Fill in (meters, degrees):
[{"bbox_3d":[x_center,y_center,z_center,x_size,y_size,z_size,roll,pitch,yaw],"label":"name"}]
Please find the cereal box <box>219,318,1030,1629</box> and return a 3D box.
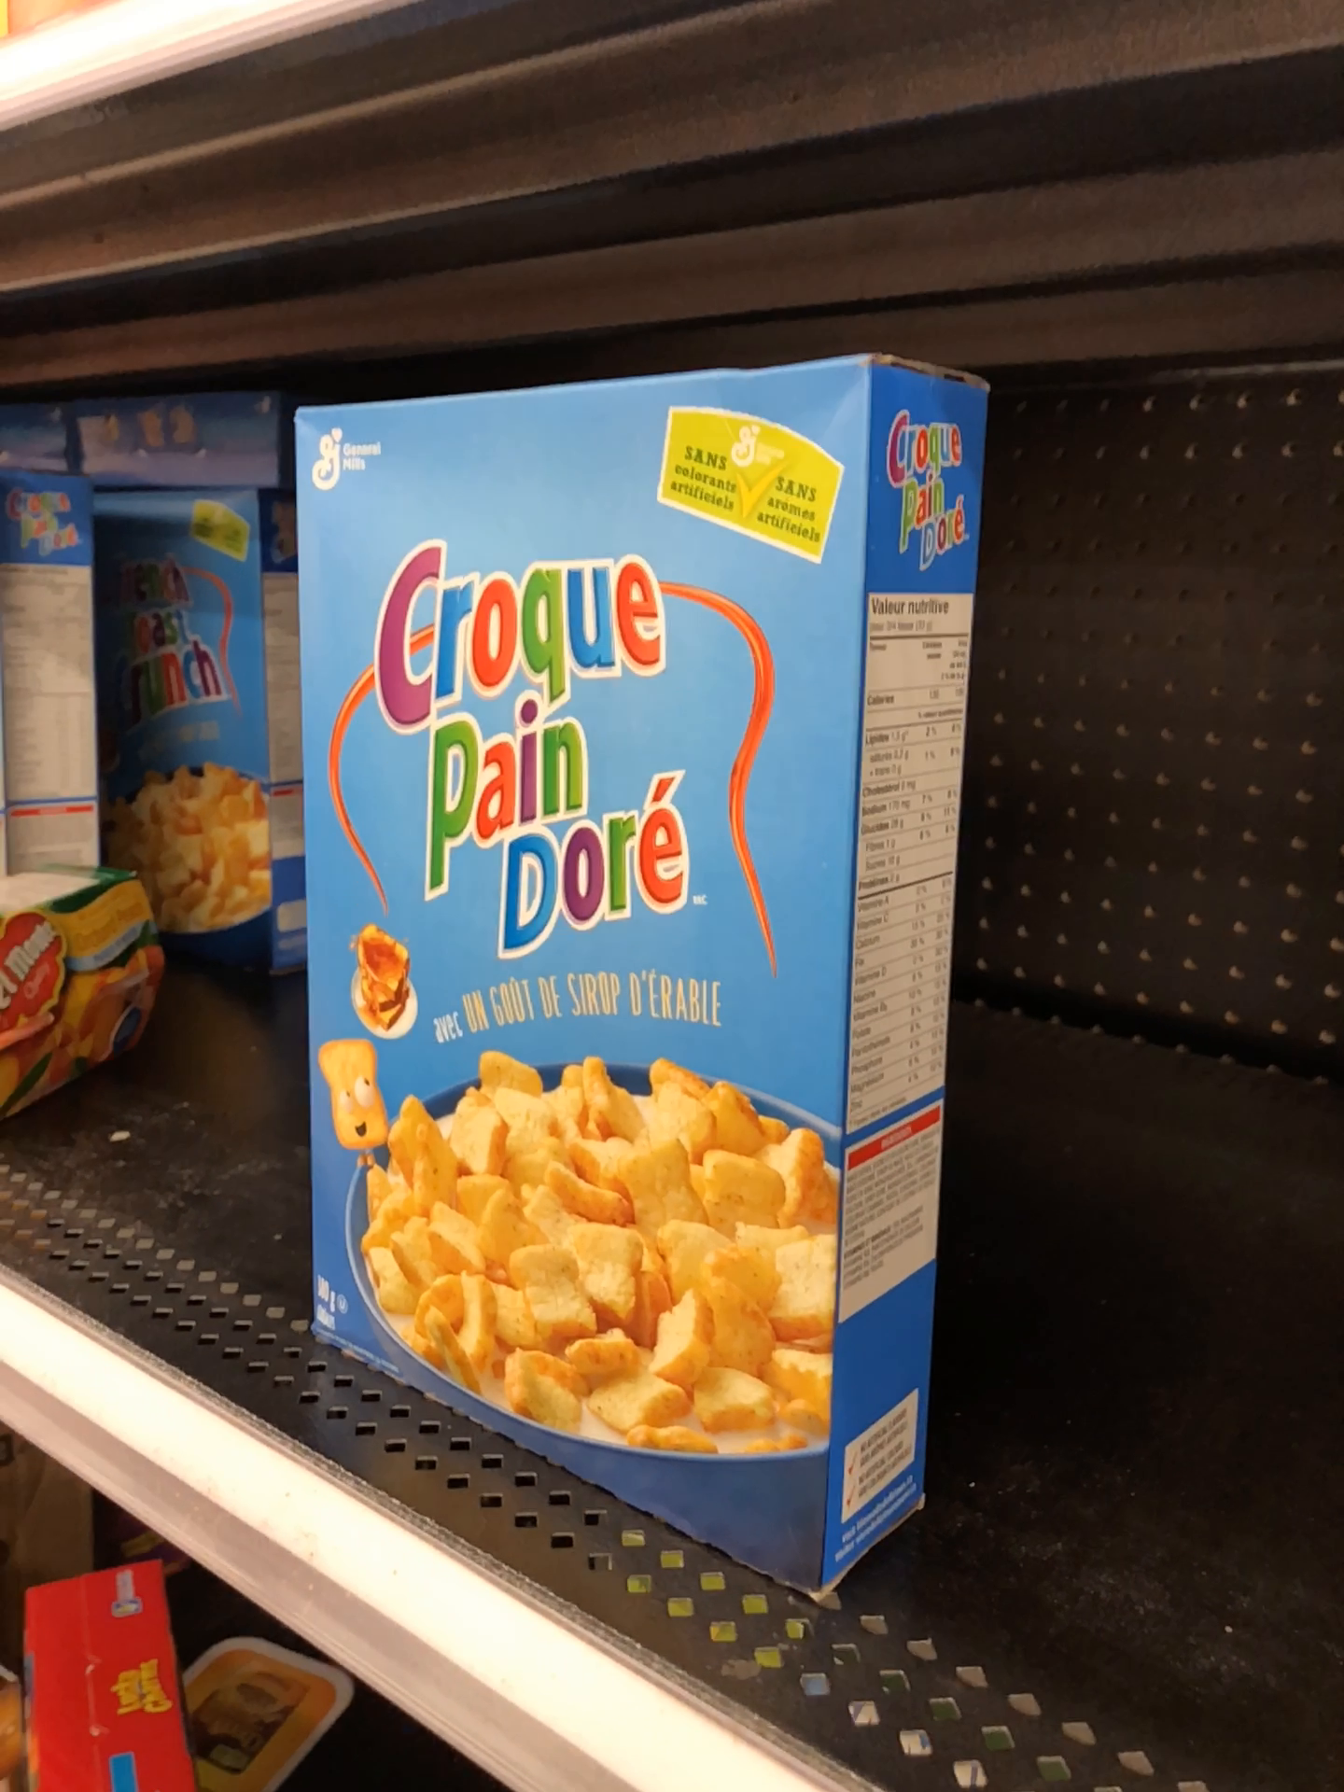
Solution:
[{"bbox_3d":[-0.027,0.007,0.379,0.210,0.269,0.050,10,14,37],"label":"cereal box"}]
